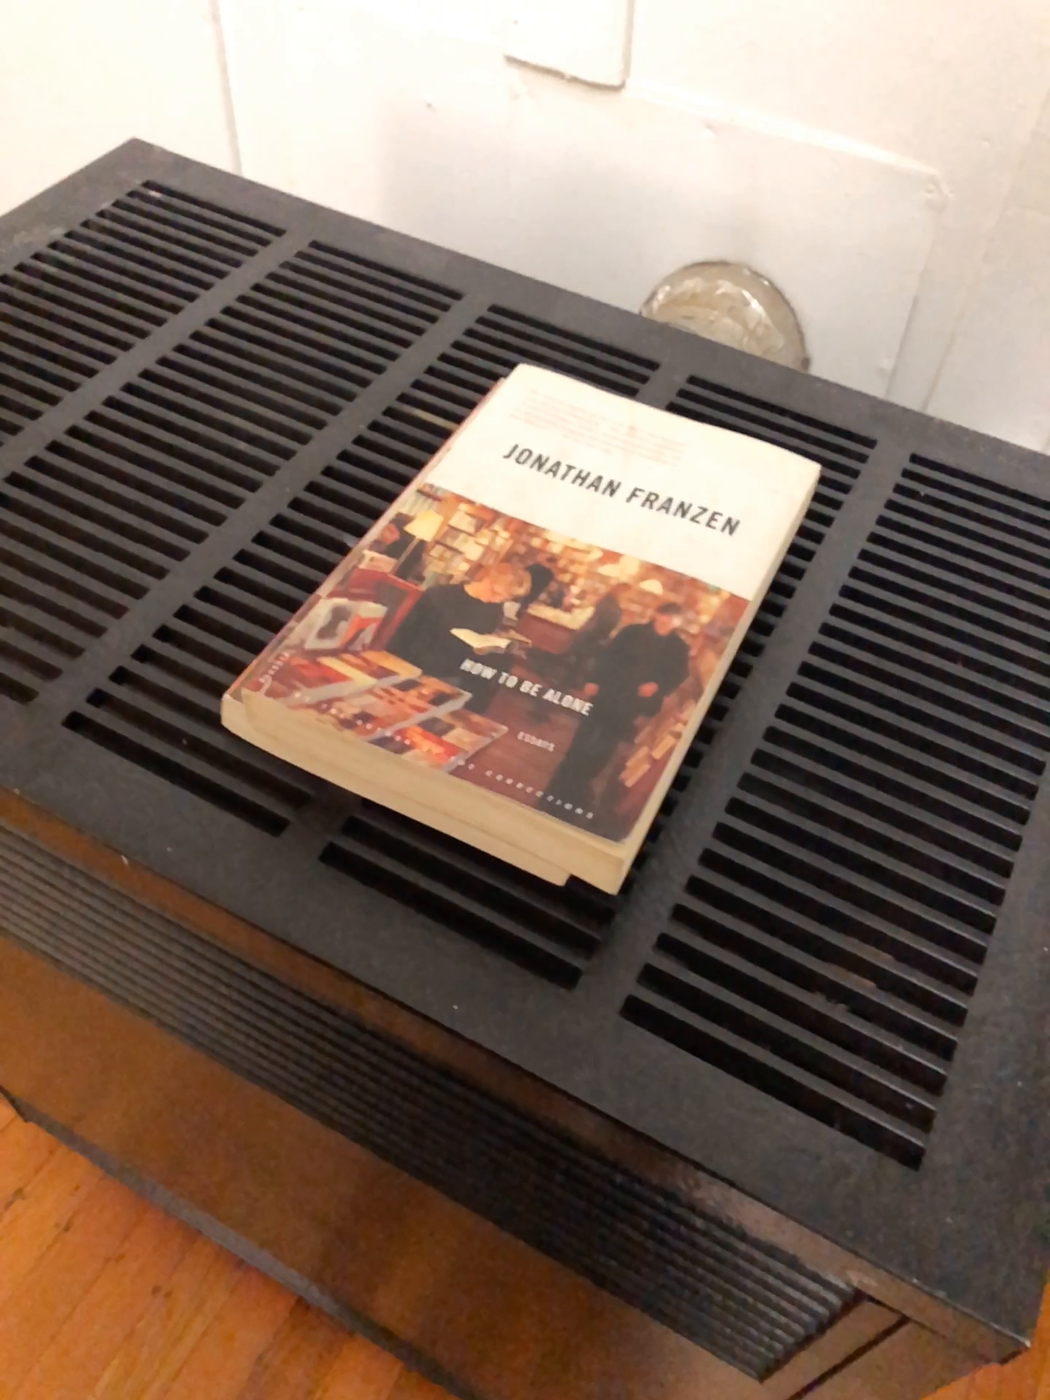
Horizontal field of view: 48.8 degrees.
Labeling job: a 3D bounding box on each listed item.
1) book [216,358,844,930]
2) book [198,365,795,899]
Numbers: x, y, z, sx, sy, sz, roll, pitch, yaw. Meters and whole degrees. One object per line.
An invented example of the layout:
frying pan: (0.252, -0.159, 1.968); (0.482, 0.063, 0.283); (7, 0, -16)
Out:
book: (0.013, -0.038, 0.425); (0.150, 0.030, 0.211); (22, 52, 13)
book: (0.000, -0.043, 0.451); (0.150, 0.030, 0.211); (22, 52, 13)
